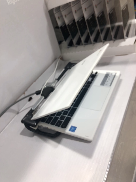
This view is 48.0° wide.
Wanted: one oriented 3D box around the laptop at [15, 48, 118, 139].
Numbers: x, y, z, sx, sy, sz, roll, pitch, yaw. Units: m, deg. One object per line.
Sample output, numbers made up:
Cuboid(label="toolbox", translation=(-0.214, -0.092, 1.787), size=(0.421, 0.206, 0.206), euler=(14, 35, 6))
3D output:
Cuboid(label="laptop", translation=(0.014, -0.018, 0.487), size=(0.201, 0.091, 0.285), euler=(3, 42, 33))
